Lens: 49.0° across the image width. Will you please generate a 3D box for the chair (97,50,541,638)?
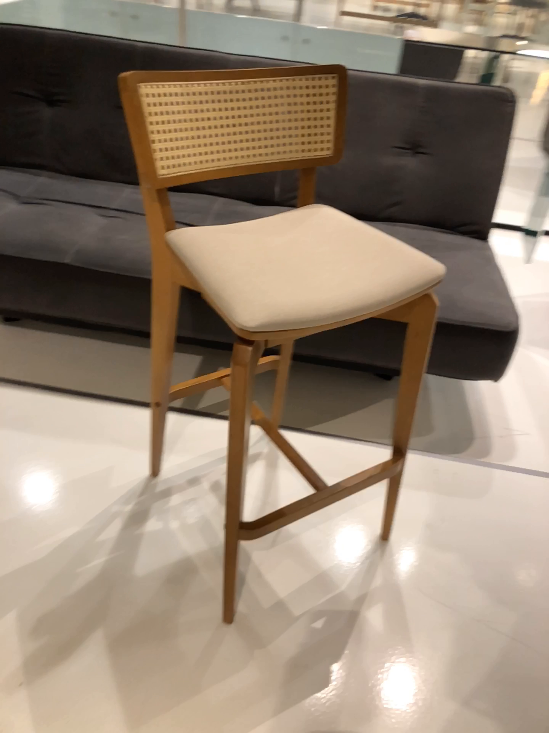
[{"bbox_3d":[0.006,-0.044,1.211,0.471,0.962,0.523,-17,42,-28],"label":"chair"}]
